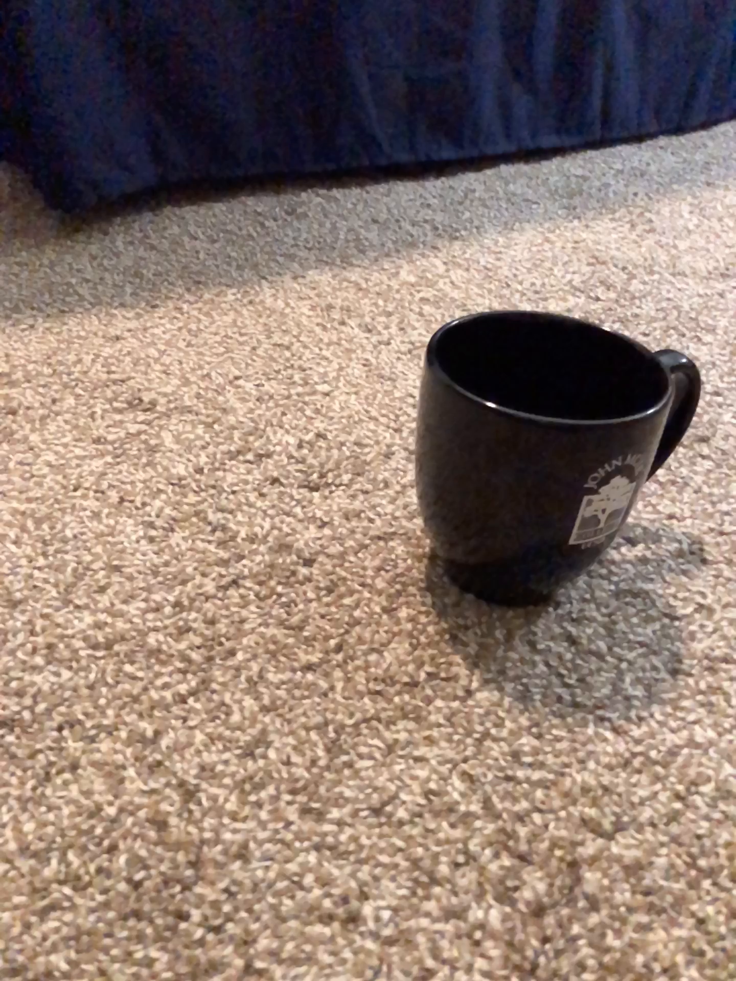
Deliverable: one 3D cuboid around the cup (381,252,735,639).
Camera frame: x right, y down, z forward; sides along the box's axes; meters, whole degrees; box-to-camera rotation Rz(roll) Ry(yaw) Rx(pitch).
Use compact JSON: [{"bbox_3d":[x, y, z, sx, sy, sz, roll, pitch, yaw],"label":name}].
[{"bbox_3d":[0.090,-0.026,0.335,0.140,0.090,0.090,-20,43,-25],"label":"cup"}]
